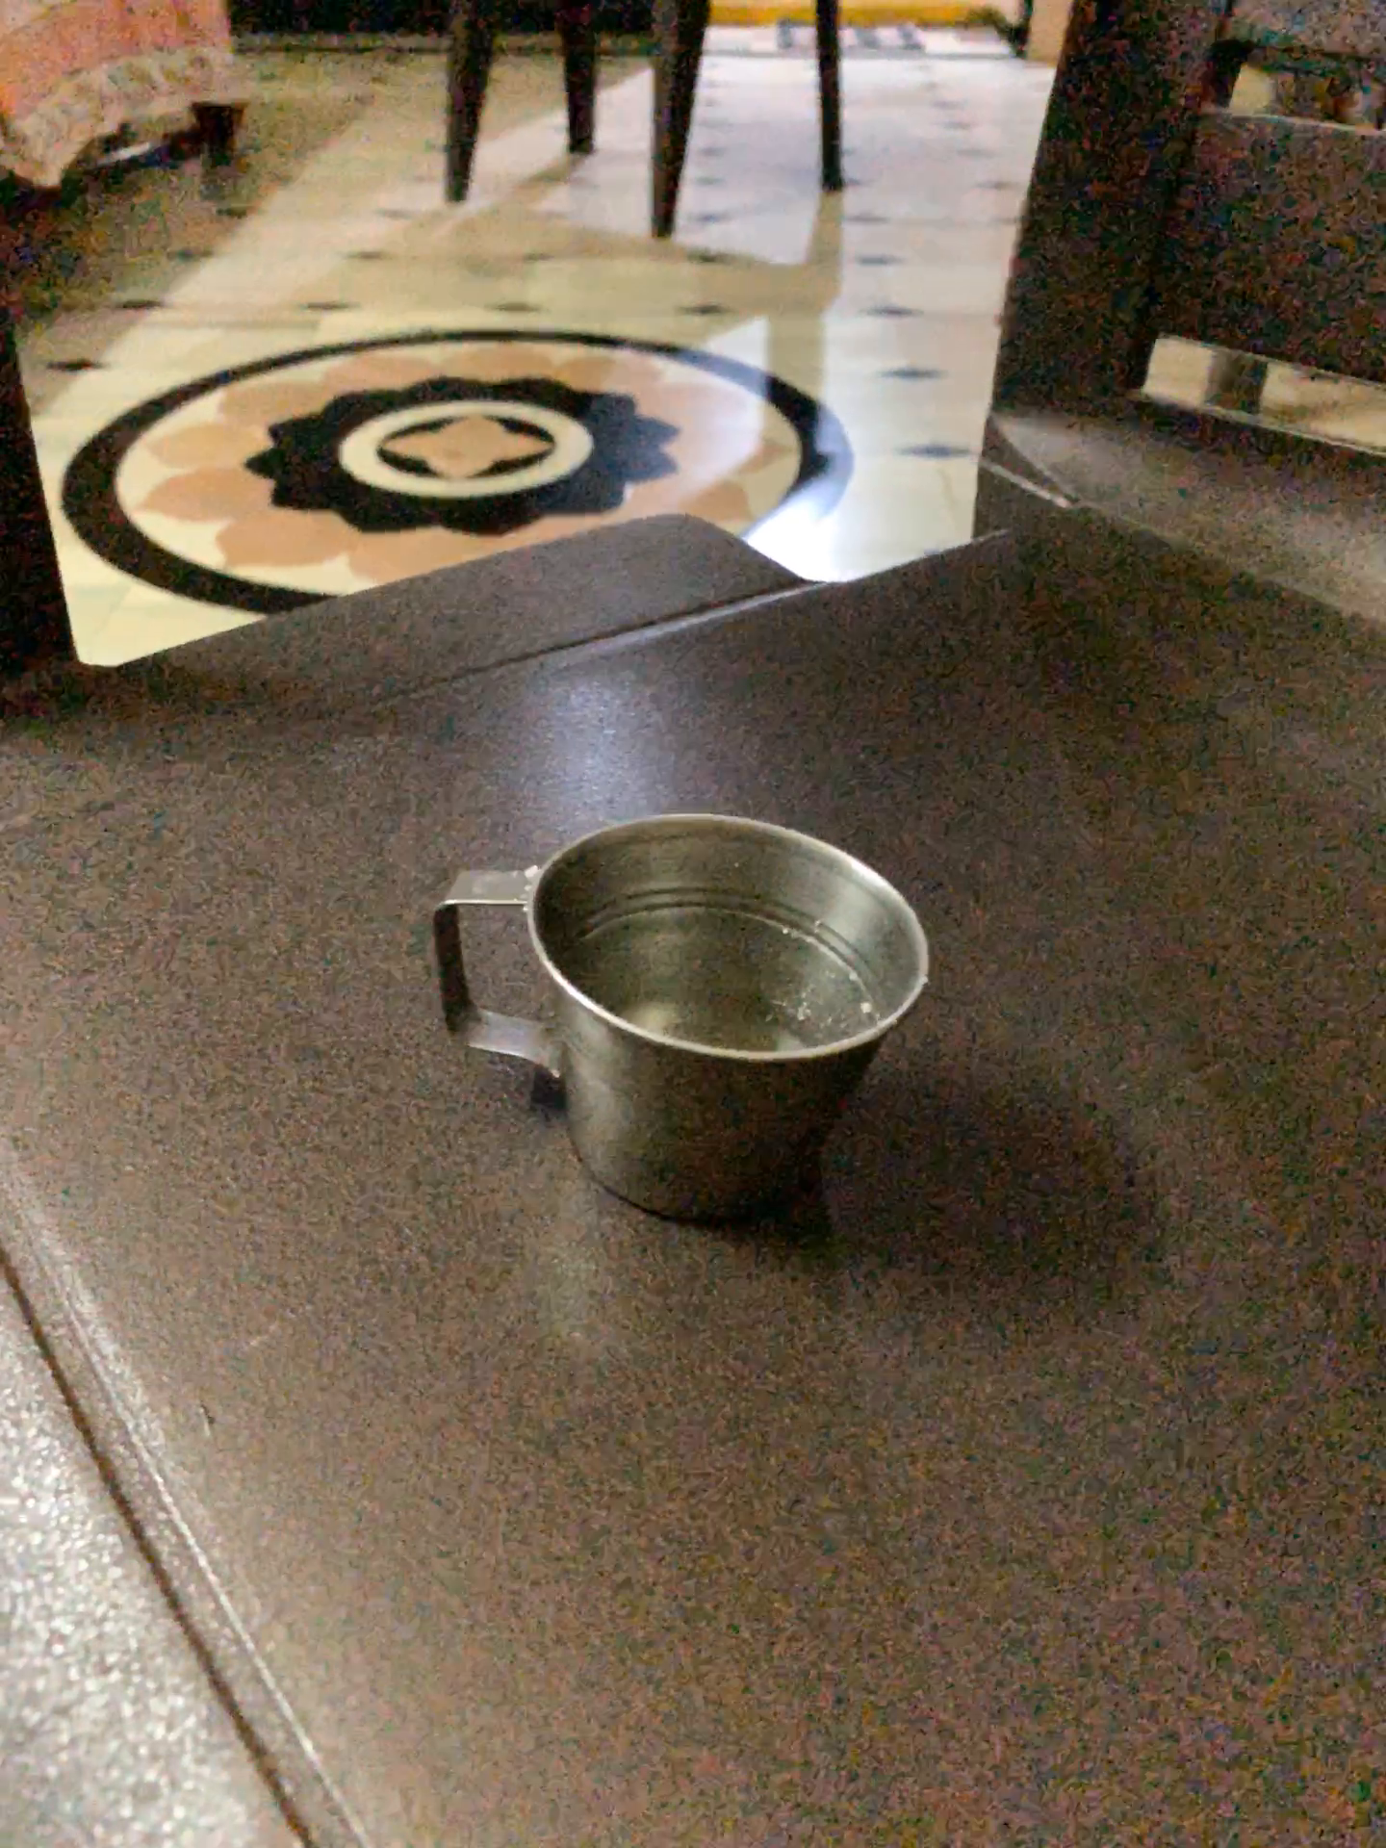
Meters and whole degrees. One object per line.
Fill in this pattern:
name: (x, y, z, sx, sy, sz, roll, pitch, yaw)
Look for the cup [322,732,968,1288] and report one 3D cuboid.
cup: (-0.004, 0.010, 0.217, 0.080, 0.040, 0.060, 11, 40, 7)
